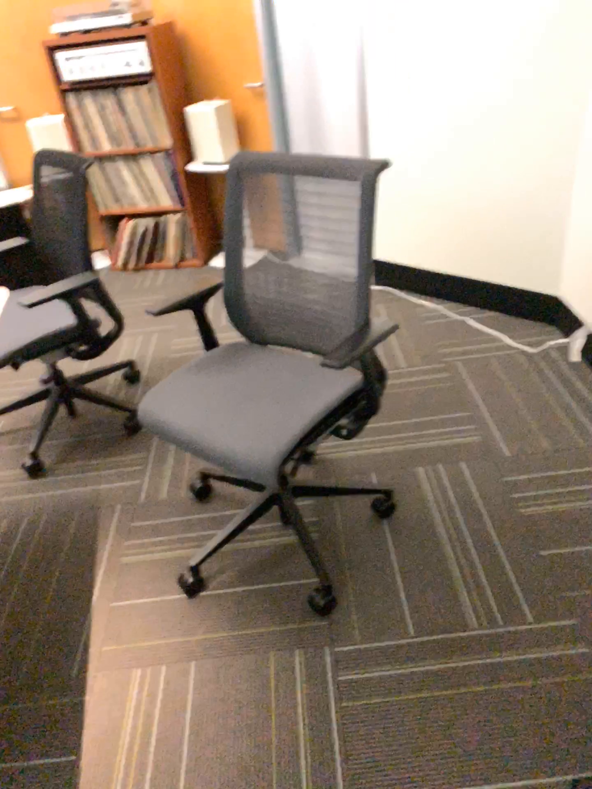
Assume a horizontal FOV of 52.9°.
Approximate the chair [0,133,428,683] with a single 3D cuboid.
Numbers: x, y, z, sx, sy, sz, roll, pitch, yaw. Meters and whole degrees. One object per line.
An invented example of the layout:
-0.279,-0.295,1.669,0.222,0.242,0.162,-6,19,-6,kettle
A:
-0.173,-0.029,1.660,0.793,1.112,0.802,17,42,31,chair
